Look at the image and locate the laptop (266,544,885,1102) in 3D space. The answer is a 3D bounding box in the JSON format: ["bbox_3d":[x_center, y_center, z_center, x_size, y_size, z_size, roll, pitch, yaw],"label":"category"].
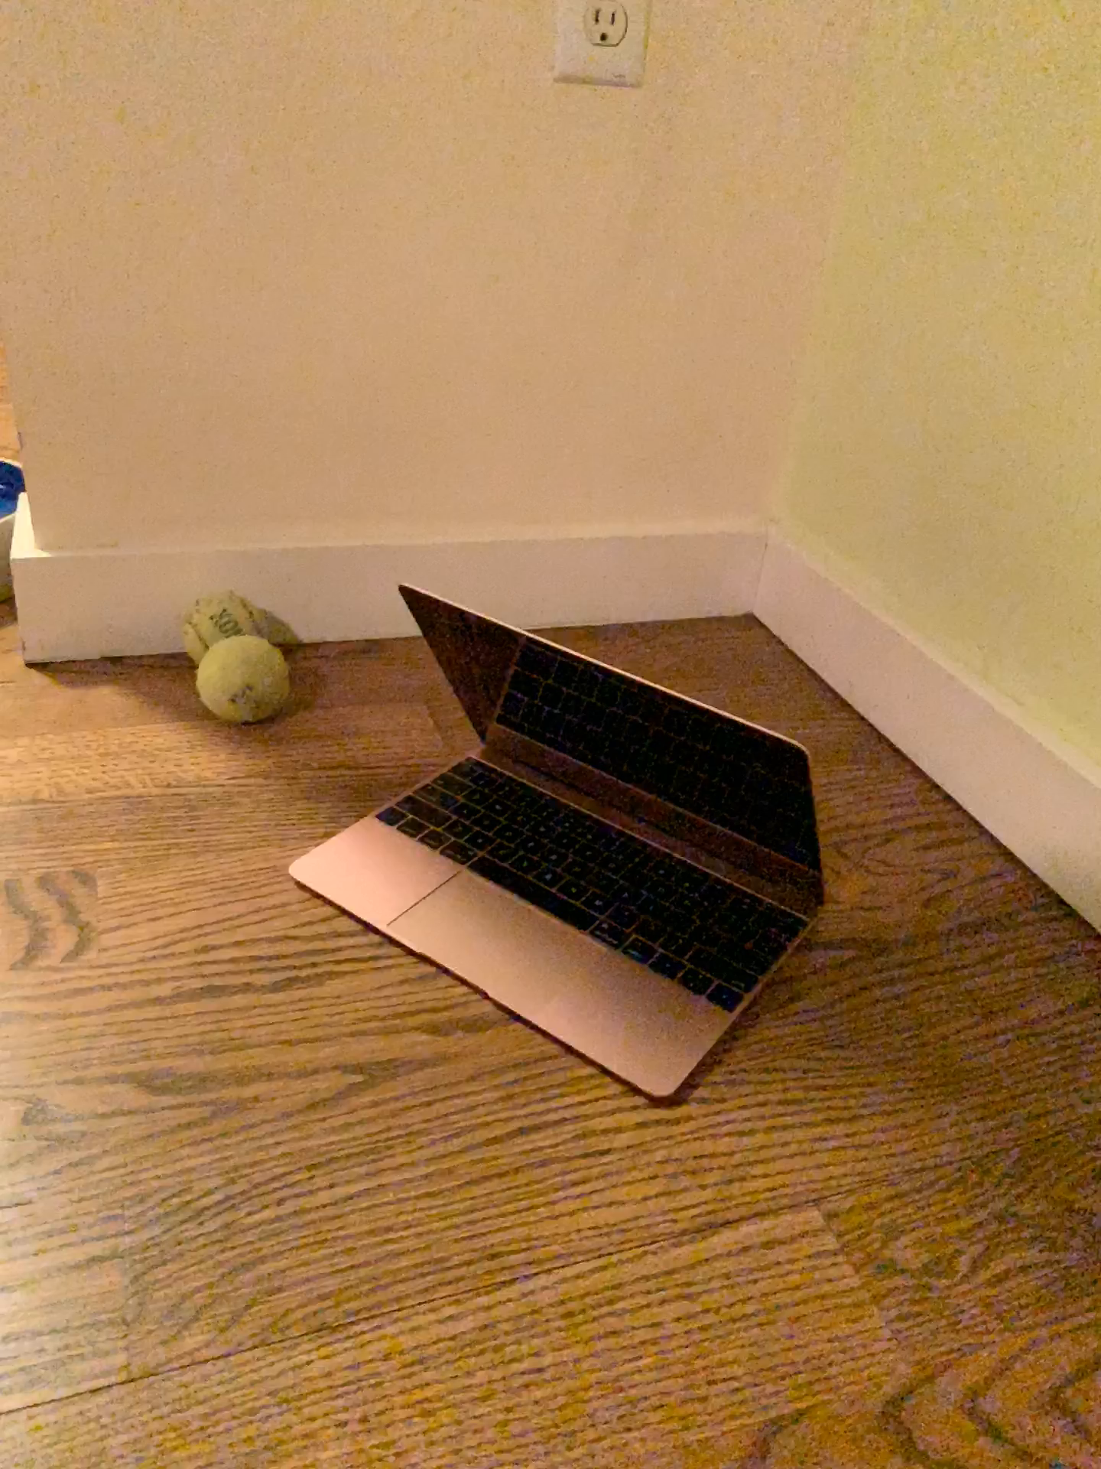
[{"bbox_3d":[0.010,0.029,0.689,0.288,0.168,0.207,24,35,28],"label":"laptop"}]
